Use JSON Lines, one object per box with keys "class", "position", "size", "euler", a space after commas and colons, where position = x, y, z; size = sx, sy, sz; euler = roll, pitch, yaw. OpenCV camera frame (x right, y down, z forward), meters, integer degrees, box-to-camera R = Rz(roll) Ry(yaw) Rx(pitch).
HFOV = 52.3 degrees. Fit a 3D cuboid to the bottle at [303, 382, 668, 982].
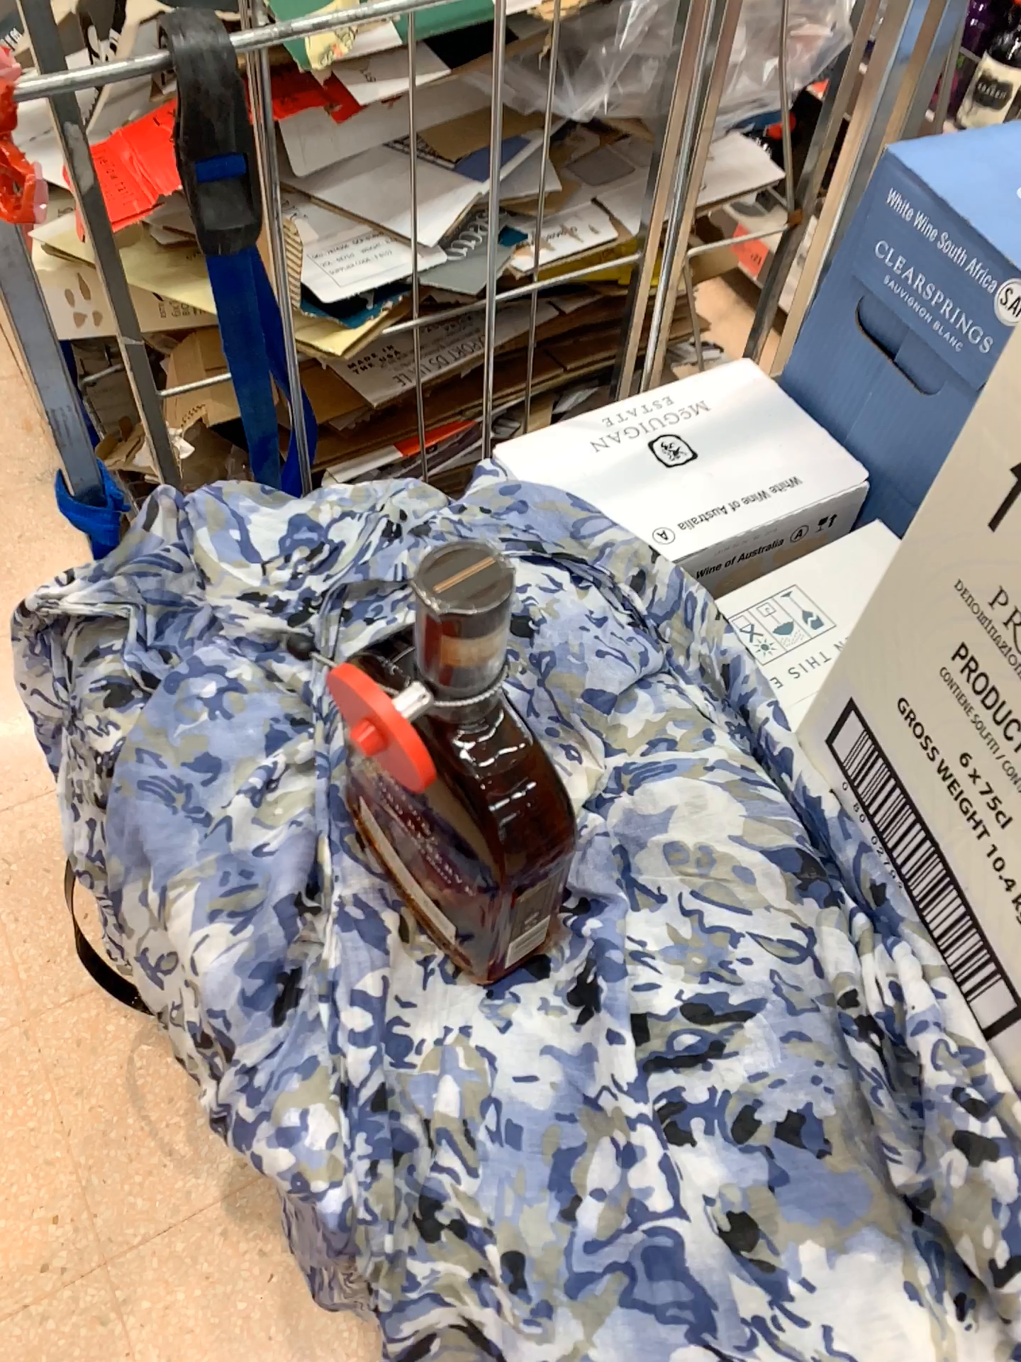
{"class": "bottle", "position": [-0.023, 0.014, 0.425], "size": [0.051, 0.222, 0.134], "euler": [-27, 61, -25]}
